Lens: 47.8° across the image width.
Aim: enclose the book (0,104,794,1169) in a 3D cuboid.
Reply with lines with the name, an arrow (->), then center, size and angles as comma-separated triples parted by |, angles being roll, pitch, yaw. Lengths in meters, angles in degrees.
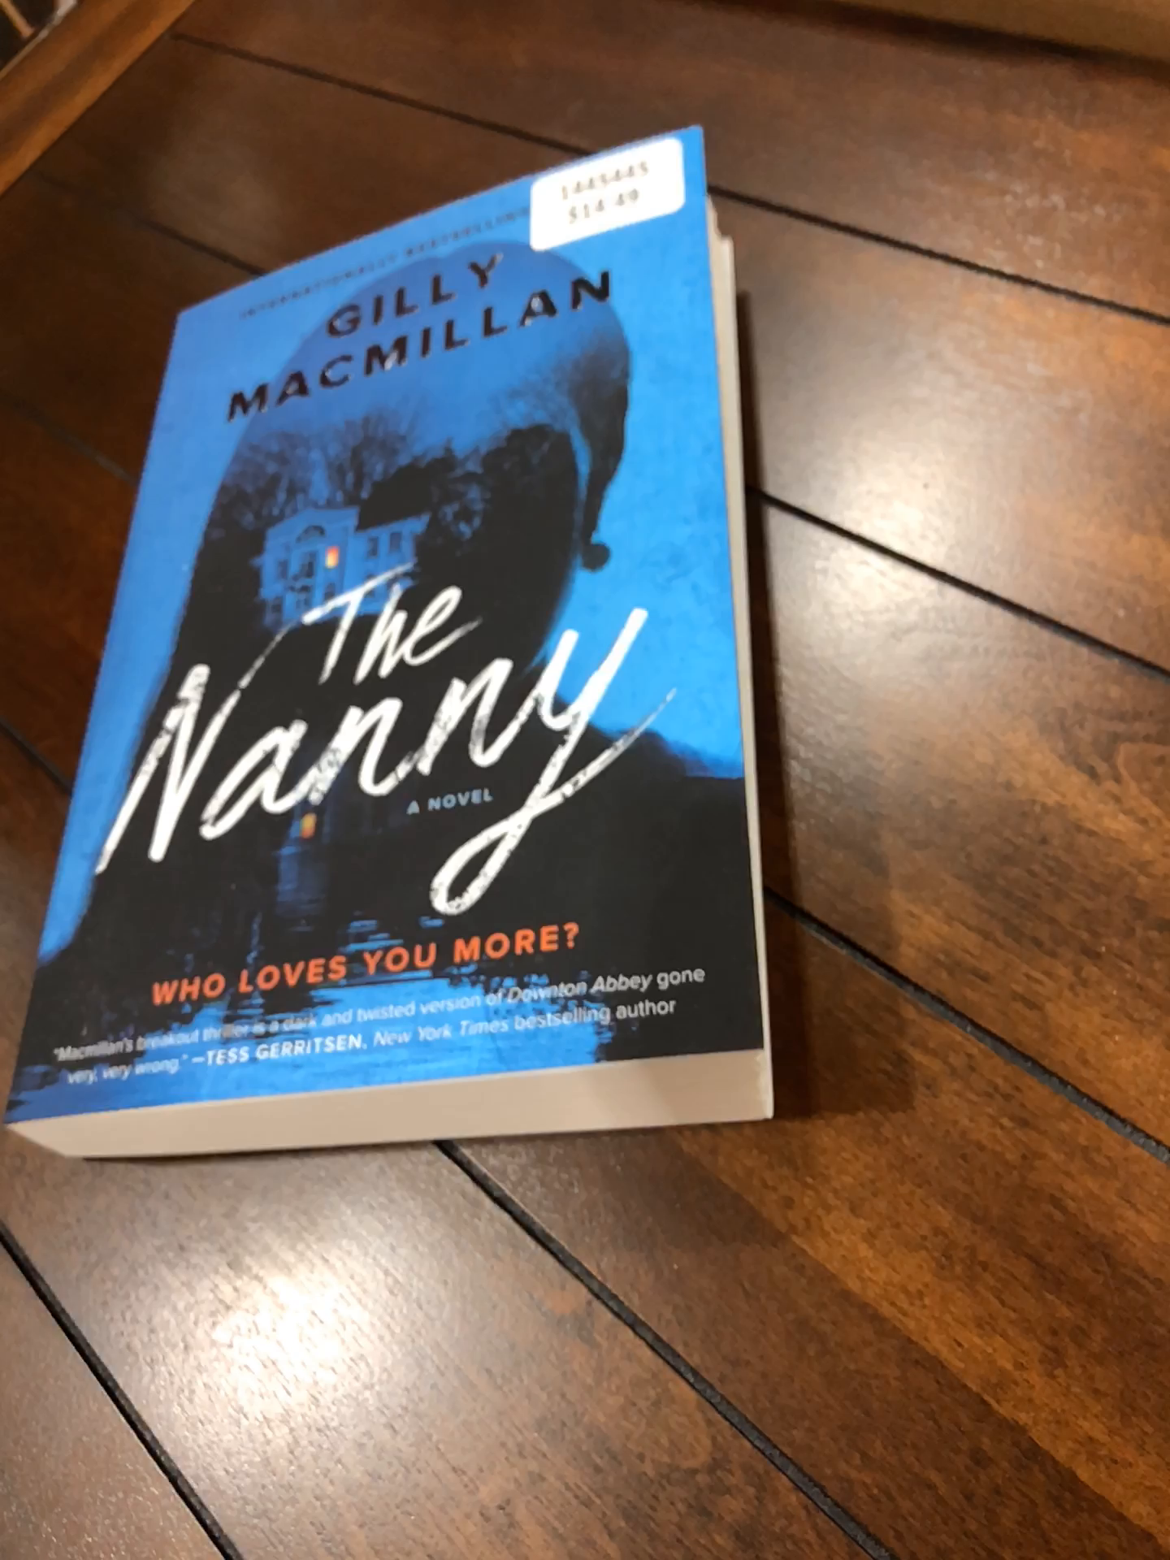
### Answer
book -> -0.040, -0.038, 0.297 | 0.160, 0.040, 0.230 | -10, 57, 21
